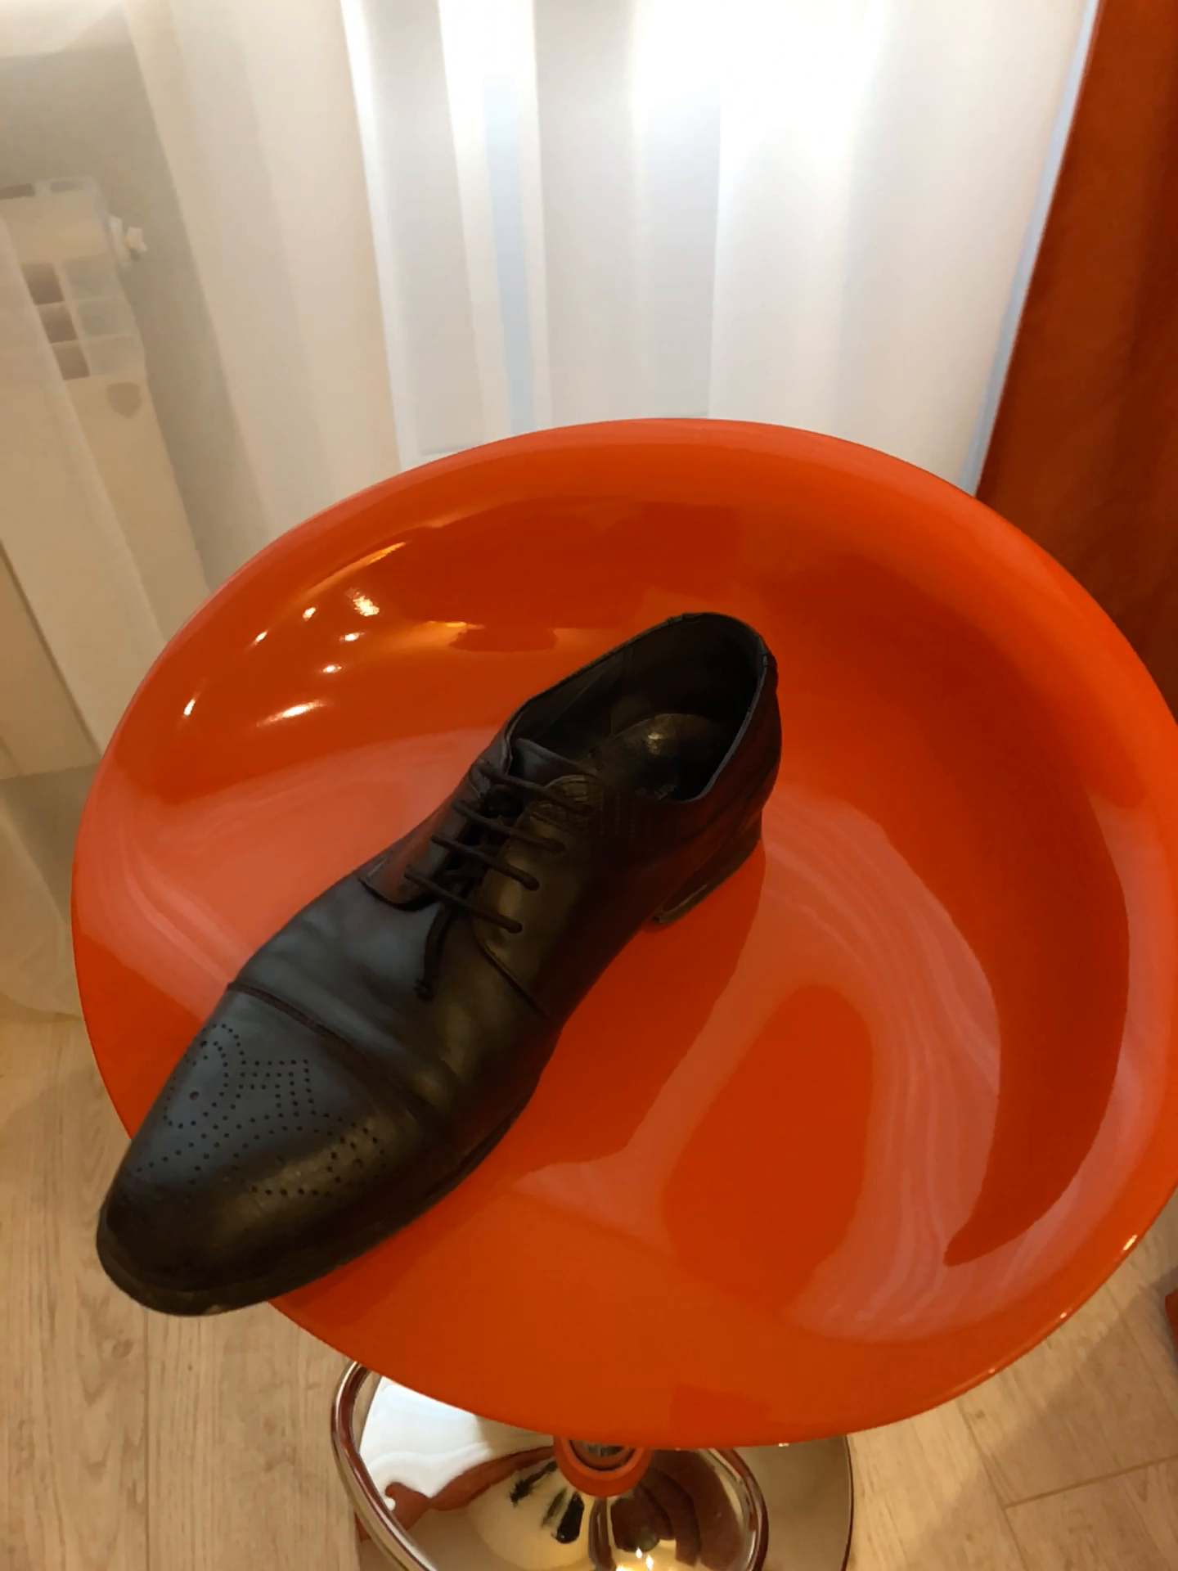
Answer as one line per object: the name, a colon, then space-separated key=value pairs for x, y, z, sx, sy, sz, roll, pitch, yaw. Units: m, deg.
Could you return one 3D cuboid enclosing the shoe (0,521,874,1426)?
shoe: x=-0.043 y=0.037 z=0.432 sx=0.120 sy=0.079 sz=0.301 roll=31 pitch=55 yaw=27
